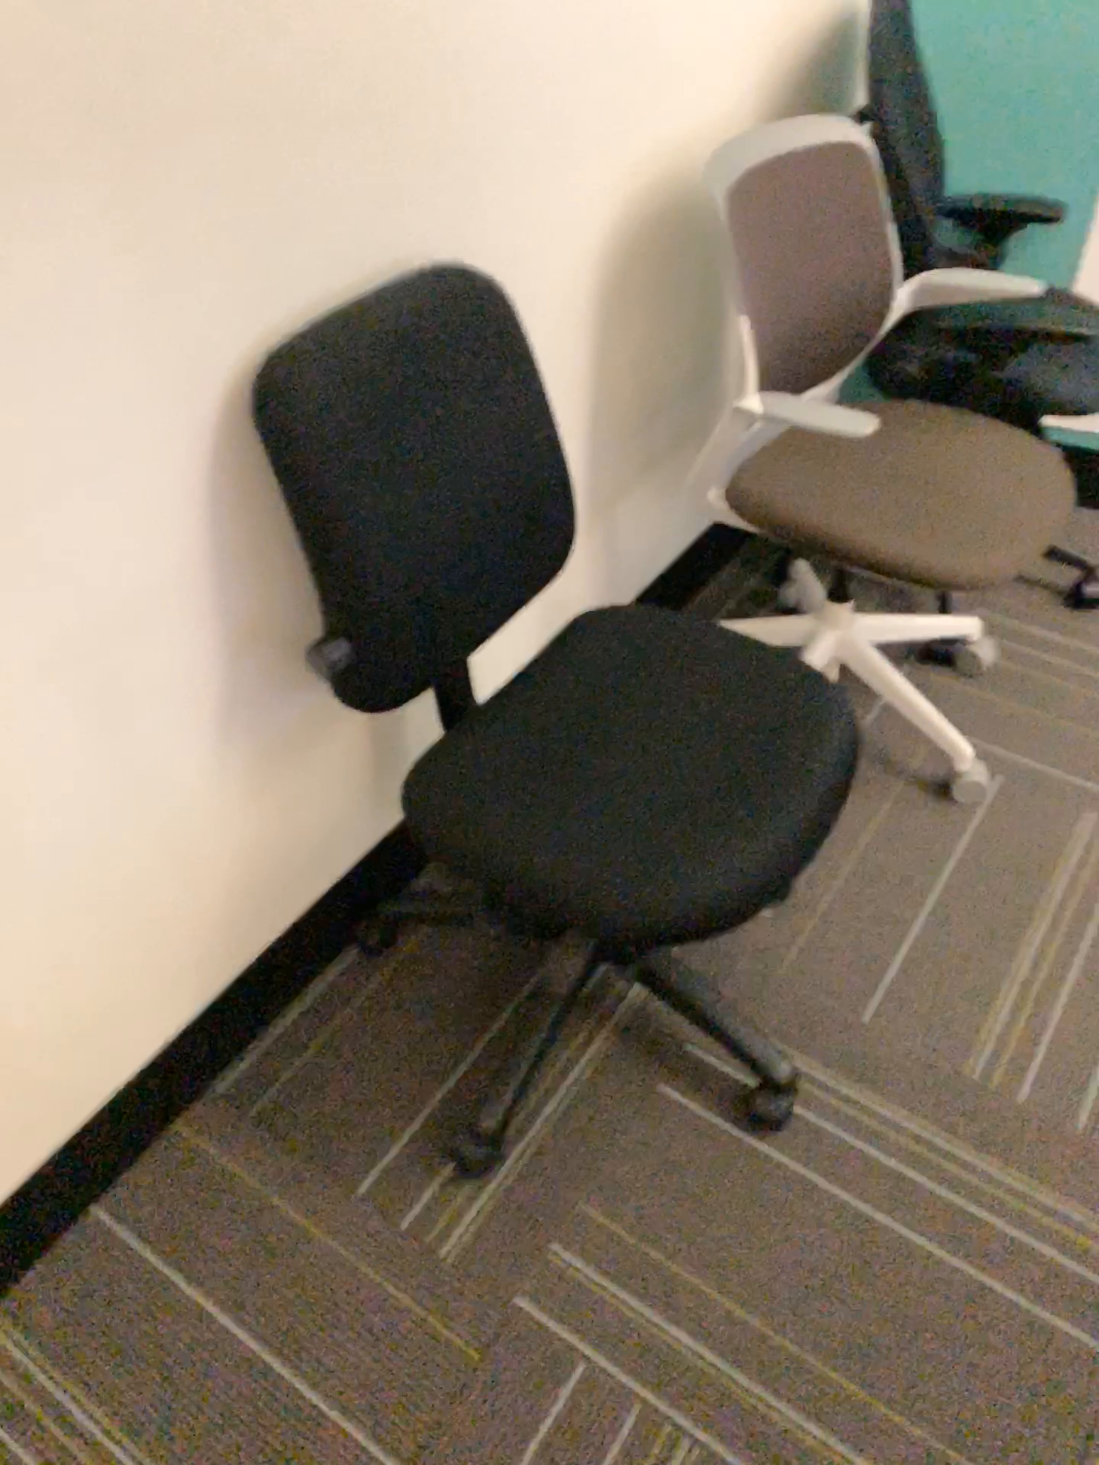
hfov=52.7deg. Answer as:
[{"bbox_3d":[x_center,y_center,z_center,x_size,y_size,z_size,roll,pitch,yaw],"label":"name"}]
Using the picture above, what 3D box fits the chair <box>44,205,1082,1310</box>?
[{"bbox_3d":[0.050,0.019,1.396,0.742,0.994,0.682,23,49,25],"label":"chair"}]
